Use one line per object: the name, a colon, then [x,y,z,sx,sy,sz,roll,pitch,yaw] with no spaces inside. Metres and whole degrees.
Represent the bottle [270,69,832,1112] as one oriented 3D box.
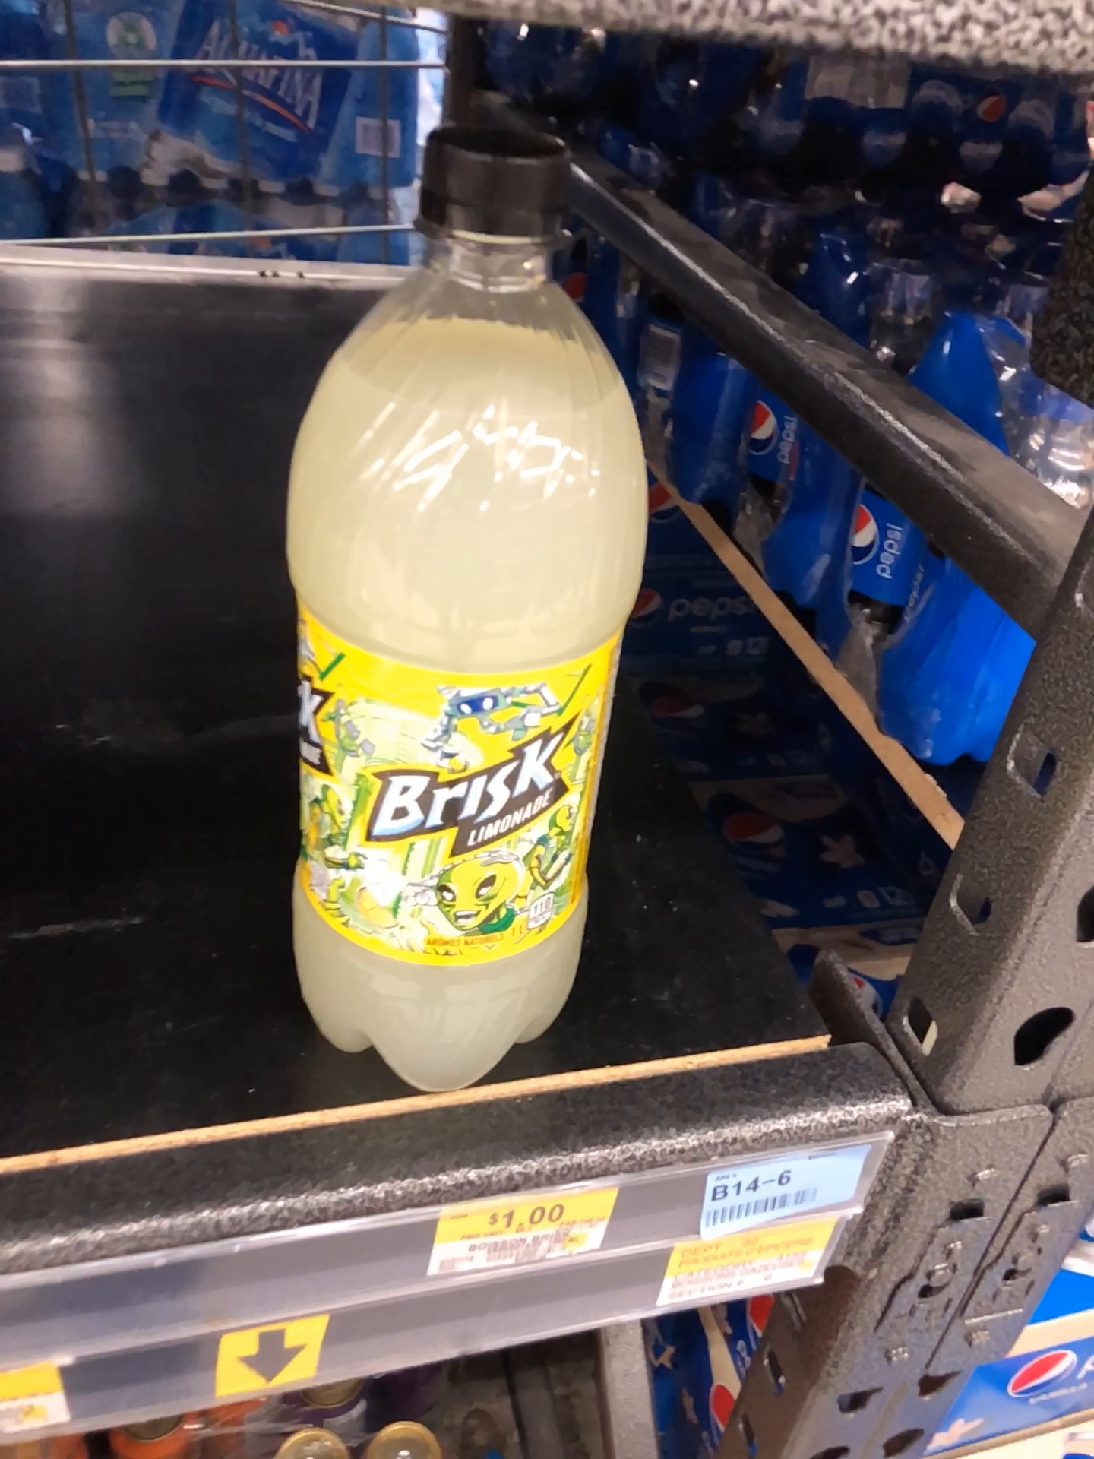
bottle: [-0.019,-0.022,0.296,0.090,0.228,0.091,6,34,-4]
